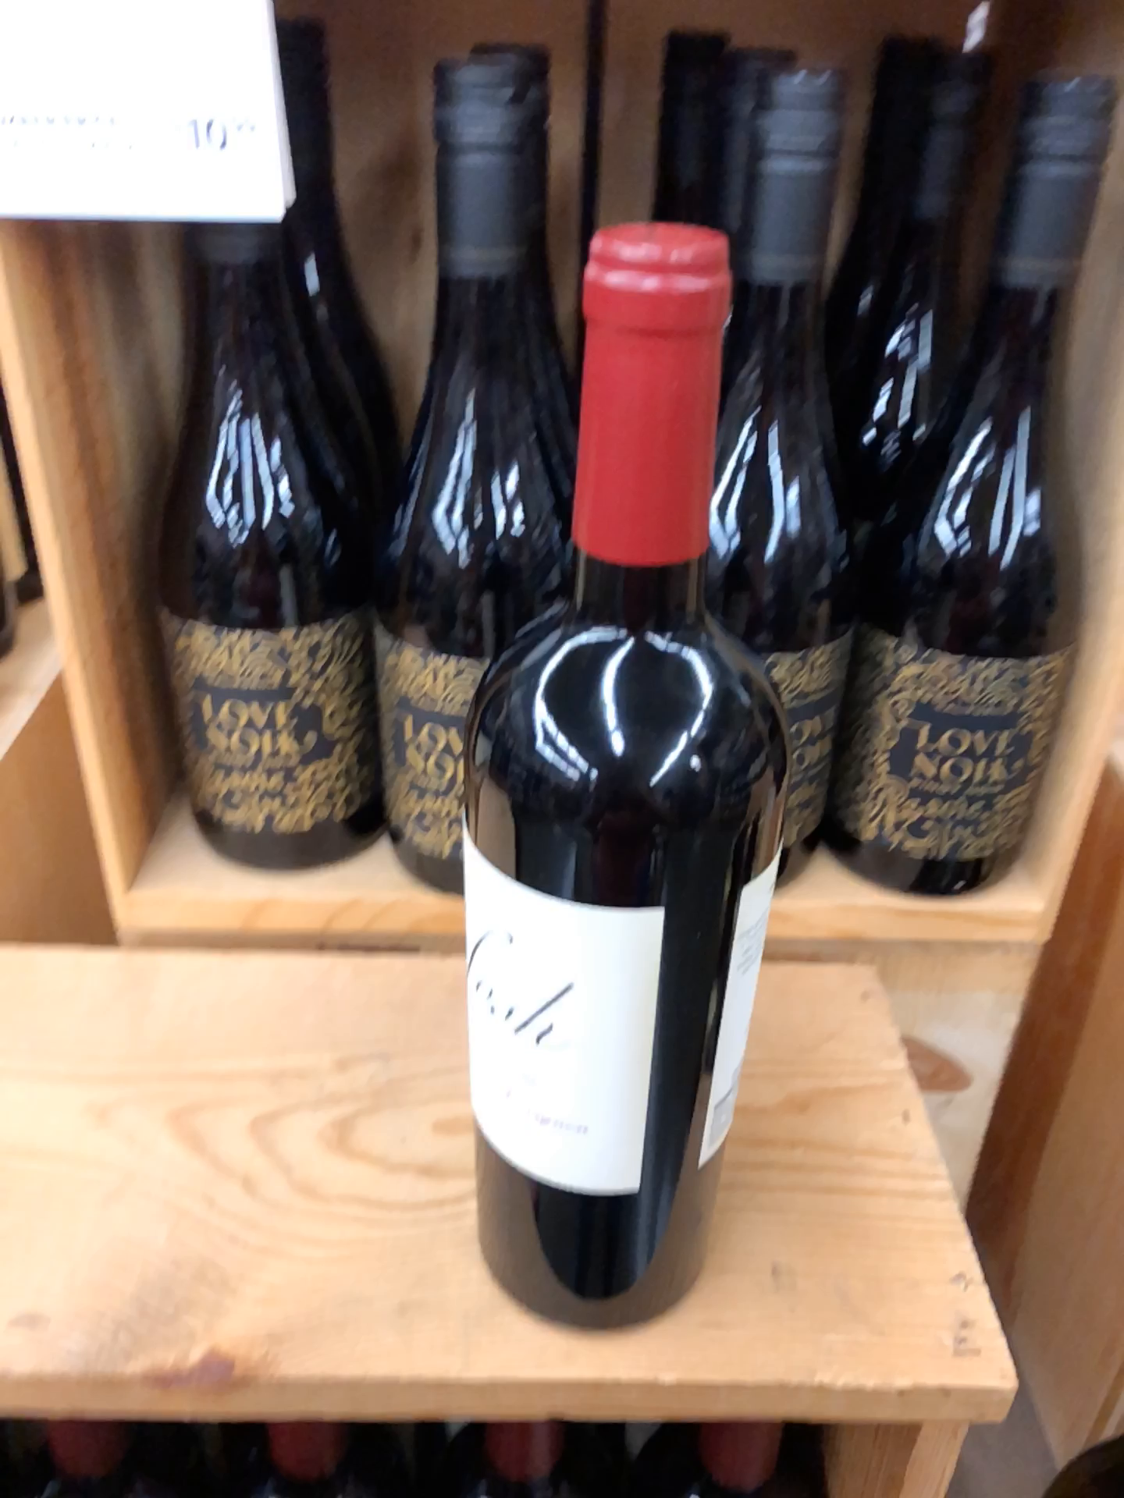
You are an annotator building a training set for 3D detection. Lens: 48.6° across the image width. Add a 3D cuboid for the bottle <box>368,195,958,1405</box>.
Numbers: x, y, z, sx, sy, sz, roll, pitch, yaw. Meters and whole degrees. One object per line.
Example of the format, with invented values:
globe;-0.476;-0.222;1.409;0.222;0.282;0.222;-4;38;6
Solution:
bottle;0.014;0.027;0.315;0.080;0.293;0.080;1;32;-1
